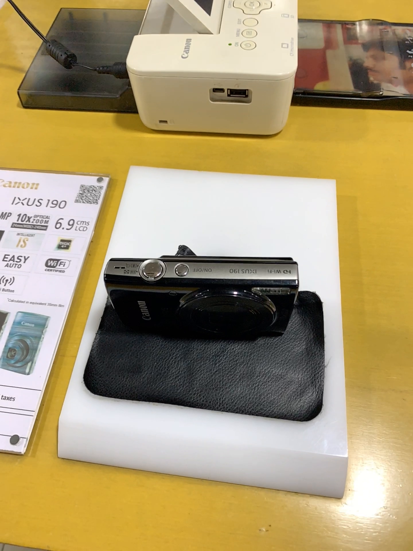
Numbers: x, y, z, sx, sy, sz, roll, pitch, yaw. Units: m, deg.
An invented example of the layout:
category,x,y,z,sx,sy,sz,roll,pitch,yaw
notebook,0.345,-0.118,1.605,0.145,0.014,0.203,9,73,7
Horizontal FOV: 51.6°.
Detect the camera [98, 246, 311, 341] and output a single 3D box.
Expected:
category,x,y,z,sx,sy,sz,roll,pitch,yaw
camera,0.000,0.011,0.211,0.090,0.060,0.020,1,60,3
